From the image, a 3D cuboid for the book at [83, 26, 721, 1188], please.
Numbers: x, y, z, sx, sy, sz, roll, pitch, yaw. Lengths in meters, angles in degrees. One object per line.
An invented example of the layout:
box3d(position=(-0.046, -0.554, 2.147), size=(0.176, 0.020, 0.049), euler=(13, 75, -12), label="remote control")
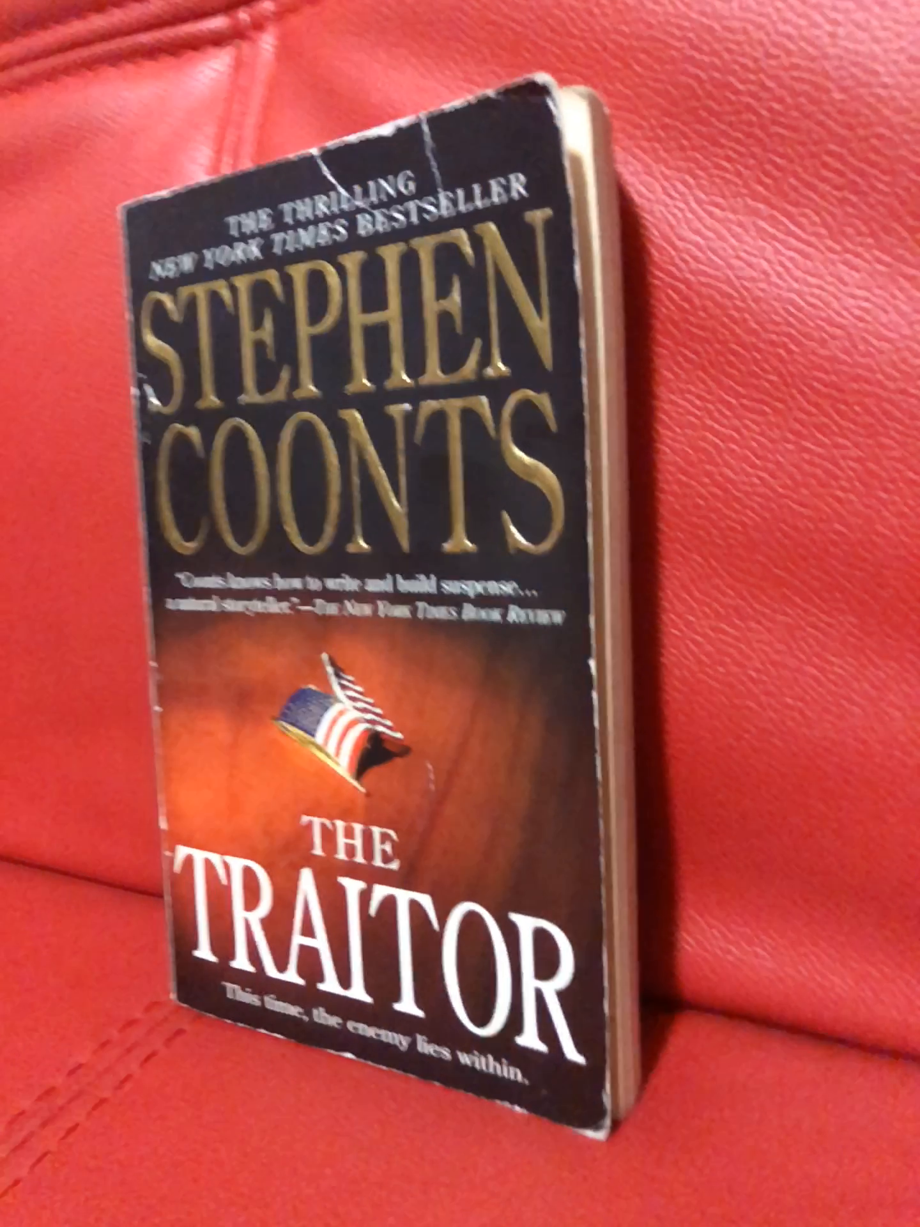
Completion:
box3d(position=(-0.014, -0.001, 0.206), size=(0.120, 0.180, 0.040), euler=(2, 5, 29), label="book")
